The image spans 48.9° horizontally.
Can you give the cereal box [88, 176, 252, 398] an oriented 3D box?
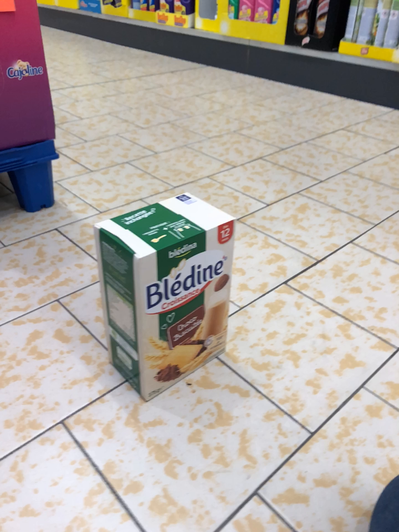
[{"bbox_3d":[-0.027,0.019,0.457,0.131,0.179,0.080,-25,42,-33],"label":"cereal box"}]
